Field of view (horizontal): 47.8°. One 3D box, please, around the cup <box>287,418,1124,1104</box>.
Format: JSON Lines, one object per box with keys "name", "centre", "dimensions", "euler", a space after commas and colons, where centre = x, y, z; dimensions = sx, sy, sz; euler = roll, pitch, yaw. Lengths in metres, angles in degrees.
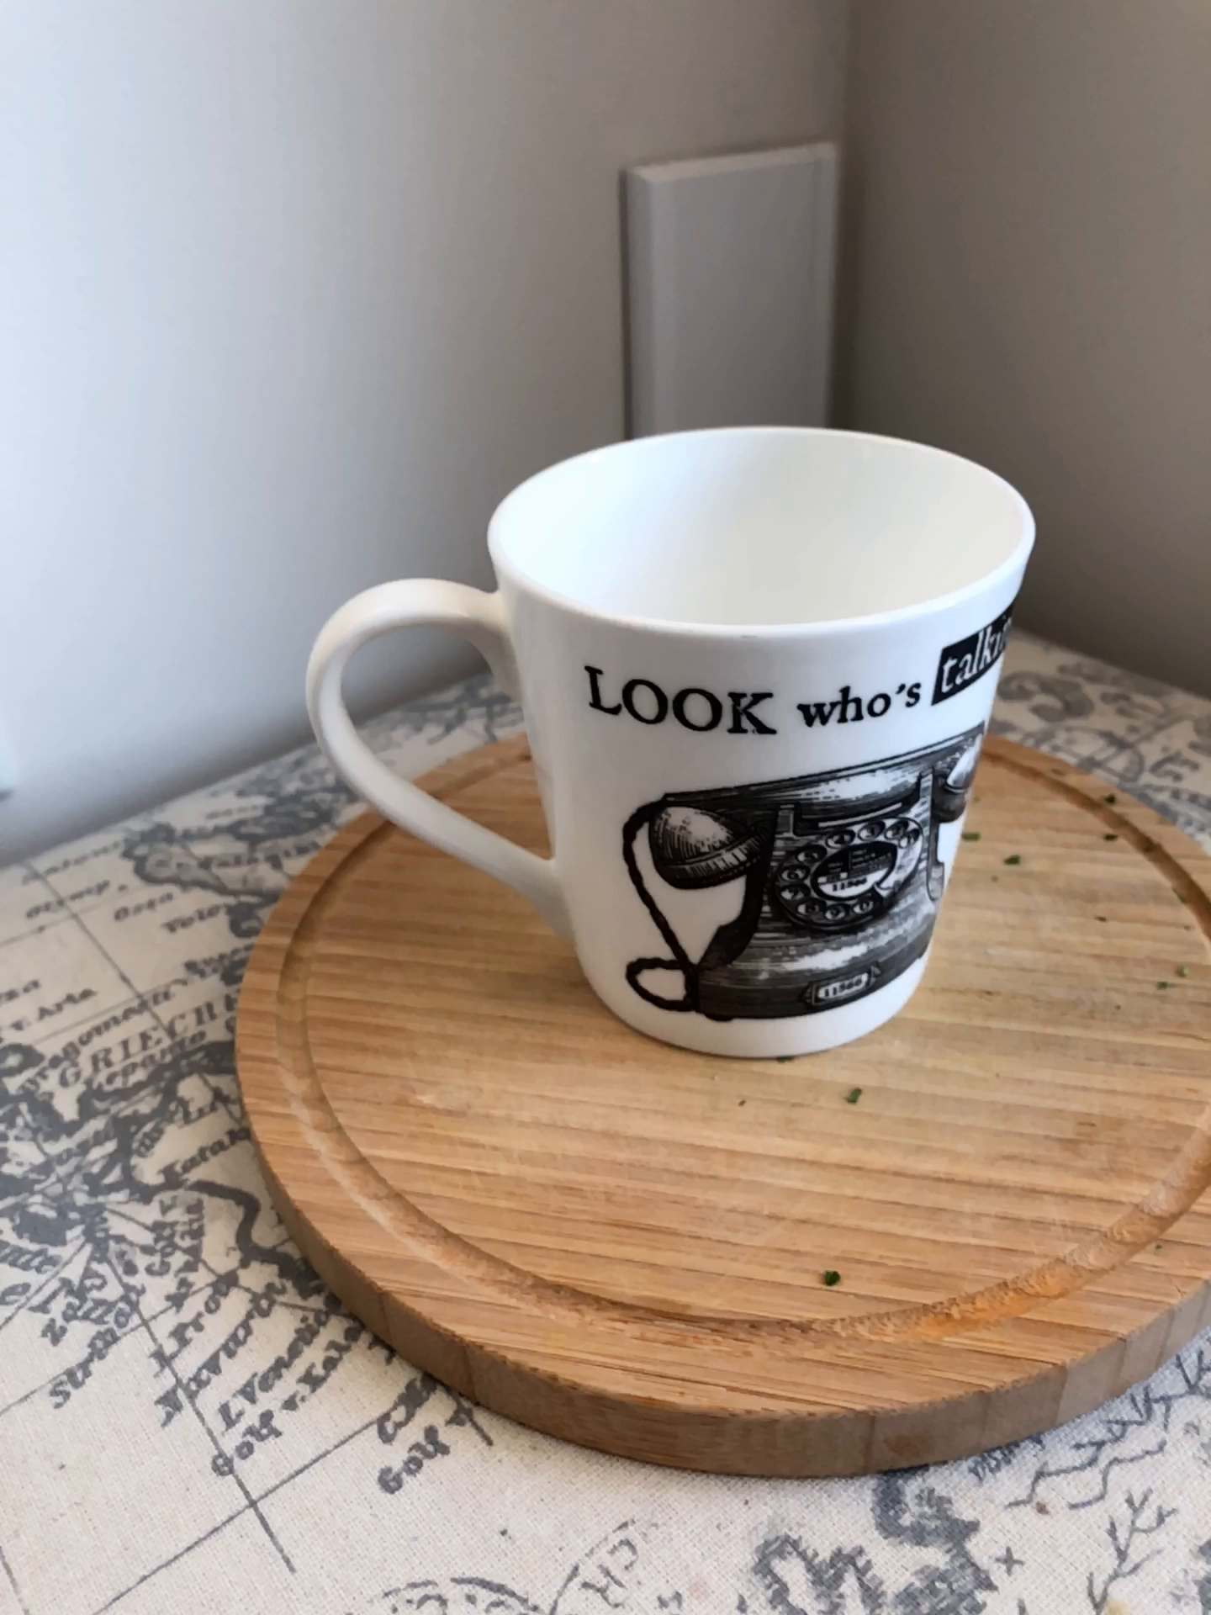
{"name": "cup", "centre": [0.015, -0.012, 0.242], "dimensions": [0.111, 0.086, 0.092], "euler": [-1, 31, 2]}
